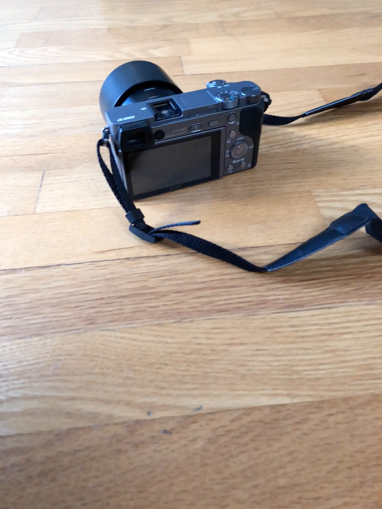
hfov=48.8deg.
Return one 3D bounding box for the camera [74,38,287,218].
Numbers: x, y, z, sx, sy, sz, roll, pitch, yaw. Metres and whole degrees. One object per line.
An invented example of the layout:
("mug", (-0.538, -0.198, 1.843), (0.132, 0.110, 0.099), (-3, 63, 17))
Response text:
("camera", (-0.012, -0.112, 0.357), (0.136, 0.079, 0.107), (-18, 50, -15))
